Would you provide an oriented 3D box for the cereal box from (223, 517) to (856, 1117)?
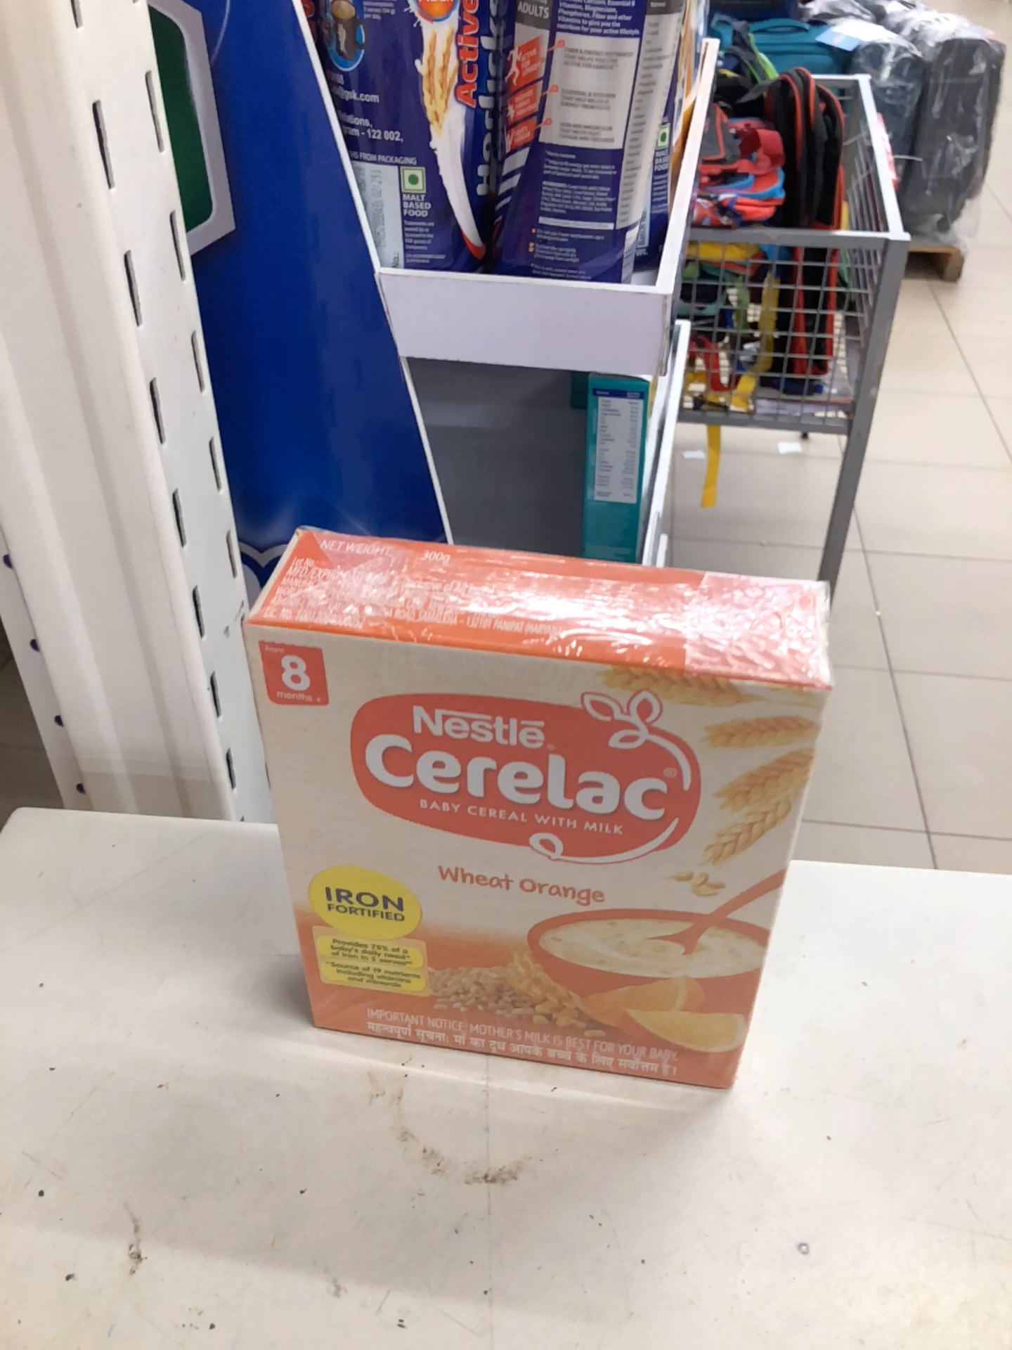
[{"bbox_3d":[0.009,0.055,0.361,0.160,0.199,0.050,7,40,7],"label":"cereal box"}]
